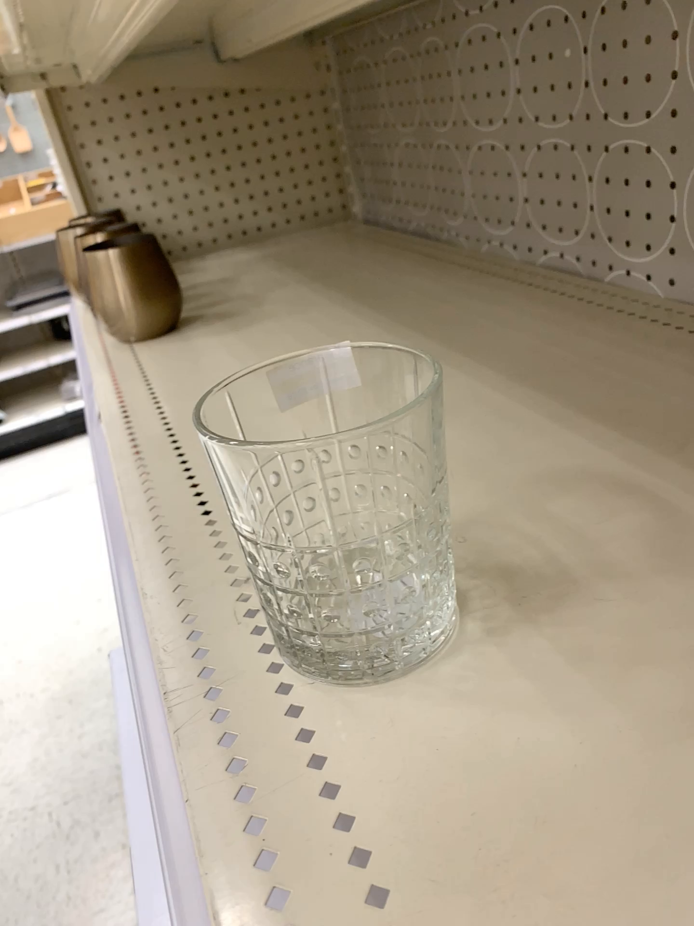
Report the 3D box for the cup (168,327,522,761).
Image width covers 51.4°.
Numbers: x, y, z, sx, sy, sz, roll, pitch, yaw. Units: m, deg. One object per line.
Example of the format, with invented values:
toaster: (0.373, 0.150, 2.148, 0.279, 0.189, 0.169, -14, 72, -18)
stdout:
cup: (-0.002, 0.024, 0.273, 0.090, 0.109, 0.090, -10, 28, 5)
